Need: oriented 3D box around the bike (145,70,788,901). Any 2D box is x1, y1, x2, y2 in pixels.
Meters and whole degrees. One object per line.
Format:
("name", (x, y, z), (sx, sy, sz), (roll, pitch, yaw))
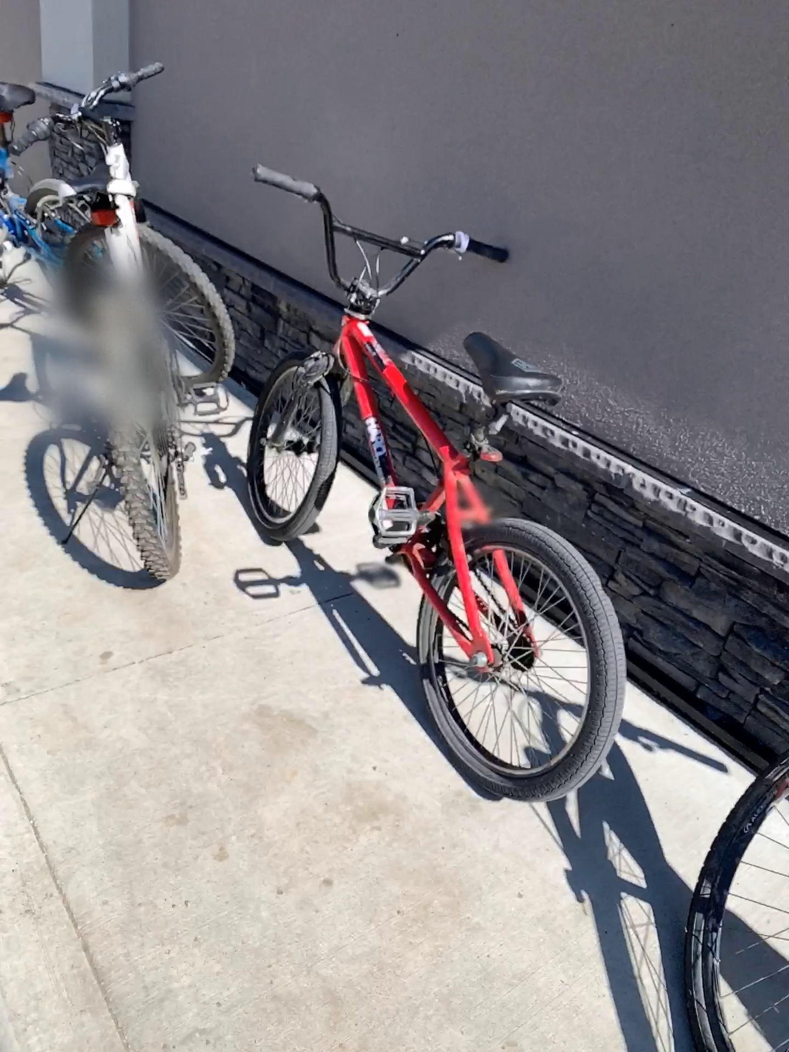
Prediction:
("bike", (0.070, -0.243, 1.679), (0.774, 0.908, 1.318), (-9, 37, -32))
